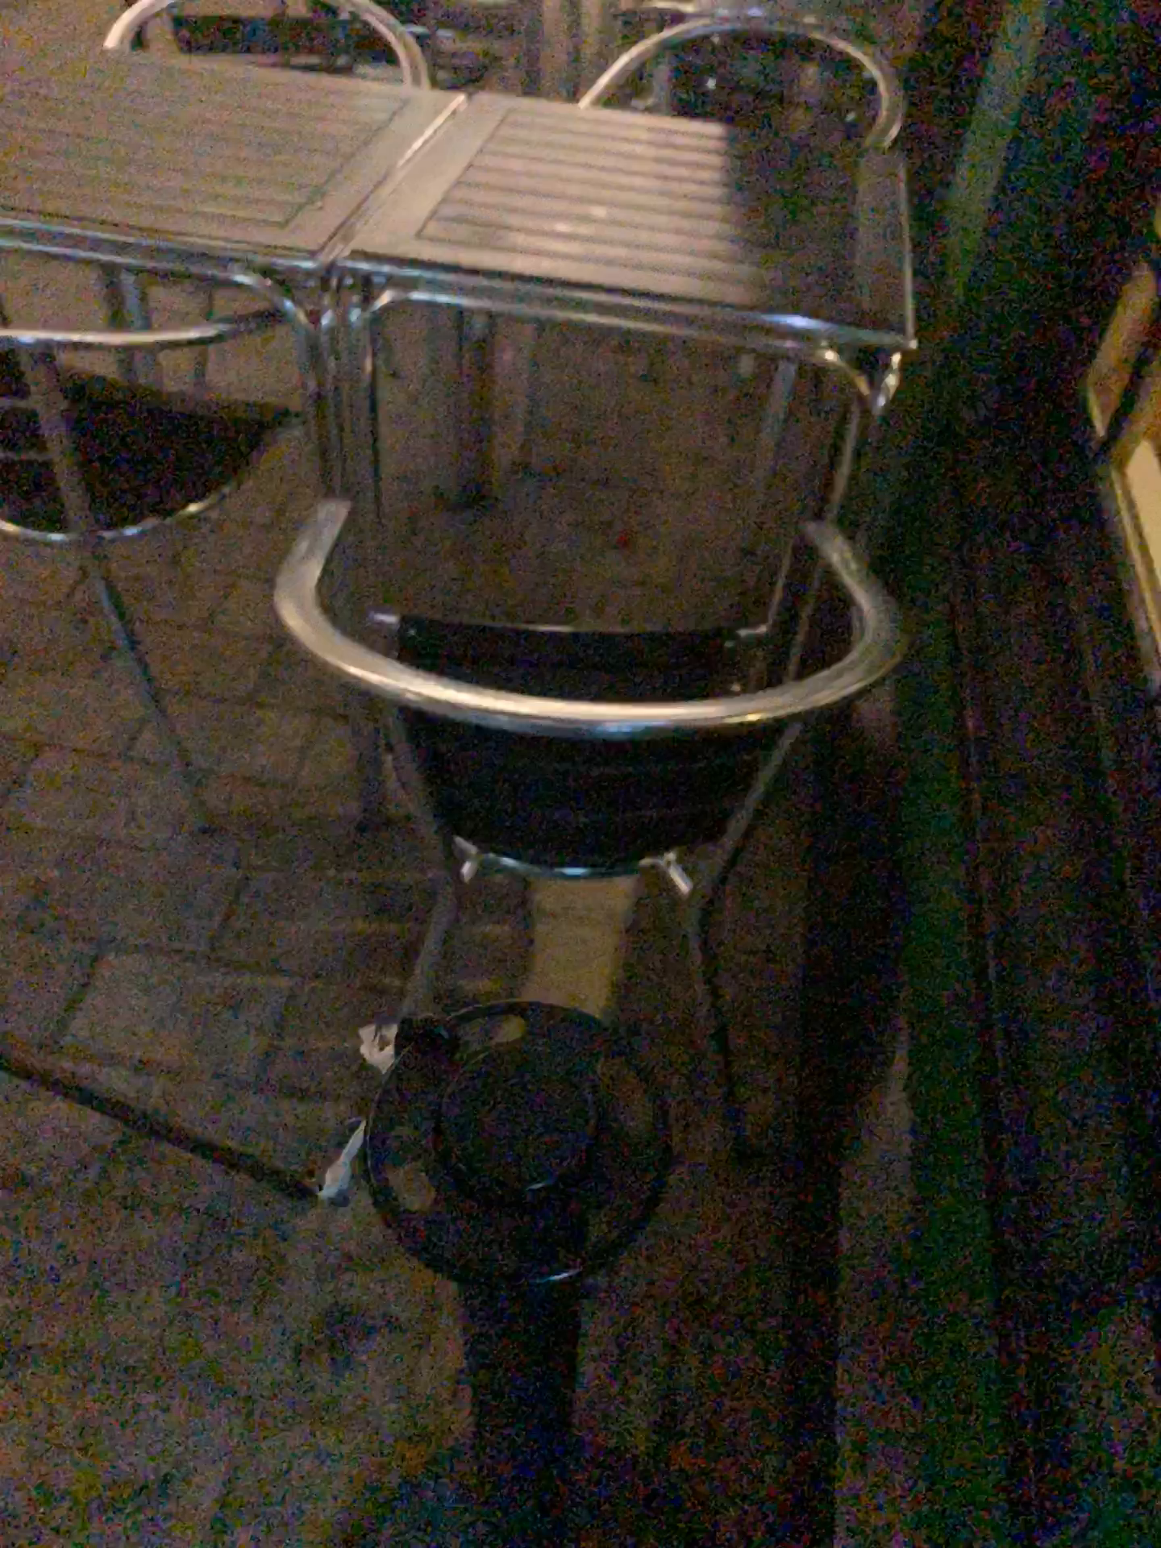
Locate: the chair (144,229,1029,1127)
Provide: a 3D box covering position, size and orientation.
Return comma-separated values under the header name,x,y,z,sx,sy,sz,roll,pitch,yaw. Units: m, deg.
name,x,y,z,sx,sy,sz,roll,pitch,yaw
chair,-0.030,-0.087,1.395,0.660,0.782,0.657,2,44,-5
